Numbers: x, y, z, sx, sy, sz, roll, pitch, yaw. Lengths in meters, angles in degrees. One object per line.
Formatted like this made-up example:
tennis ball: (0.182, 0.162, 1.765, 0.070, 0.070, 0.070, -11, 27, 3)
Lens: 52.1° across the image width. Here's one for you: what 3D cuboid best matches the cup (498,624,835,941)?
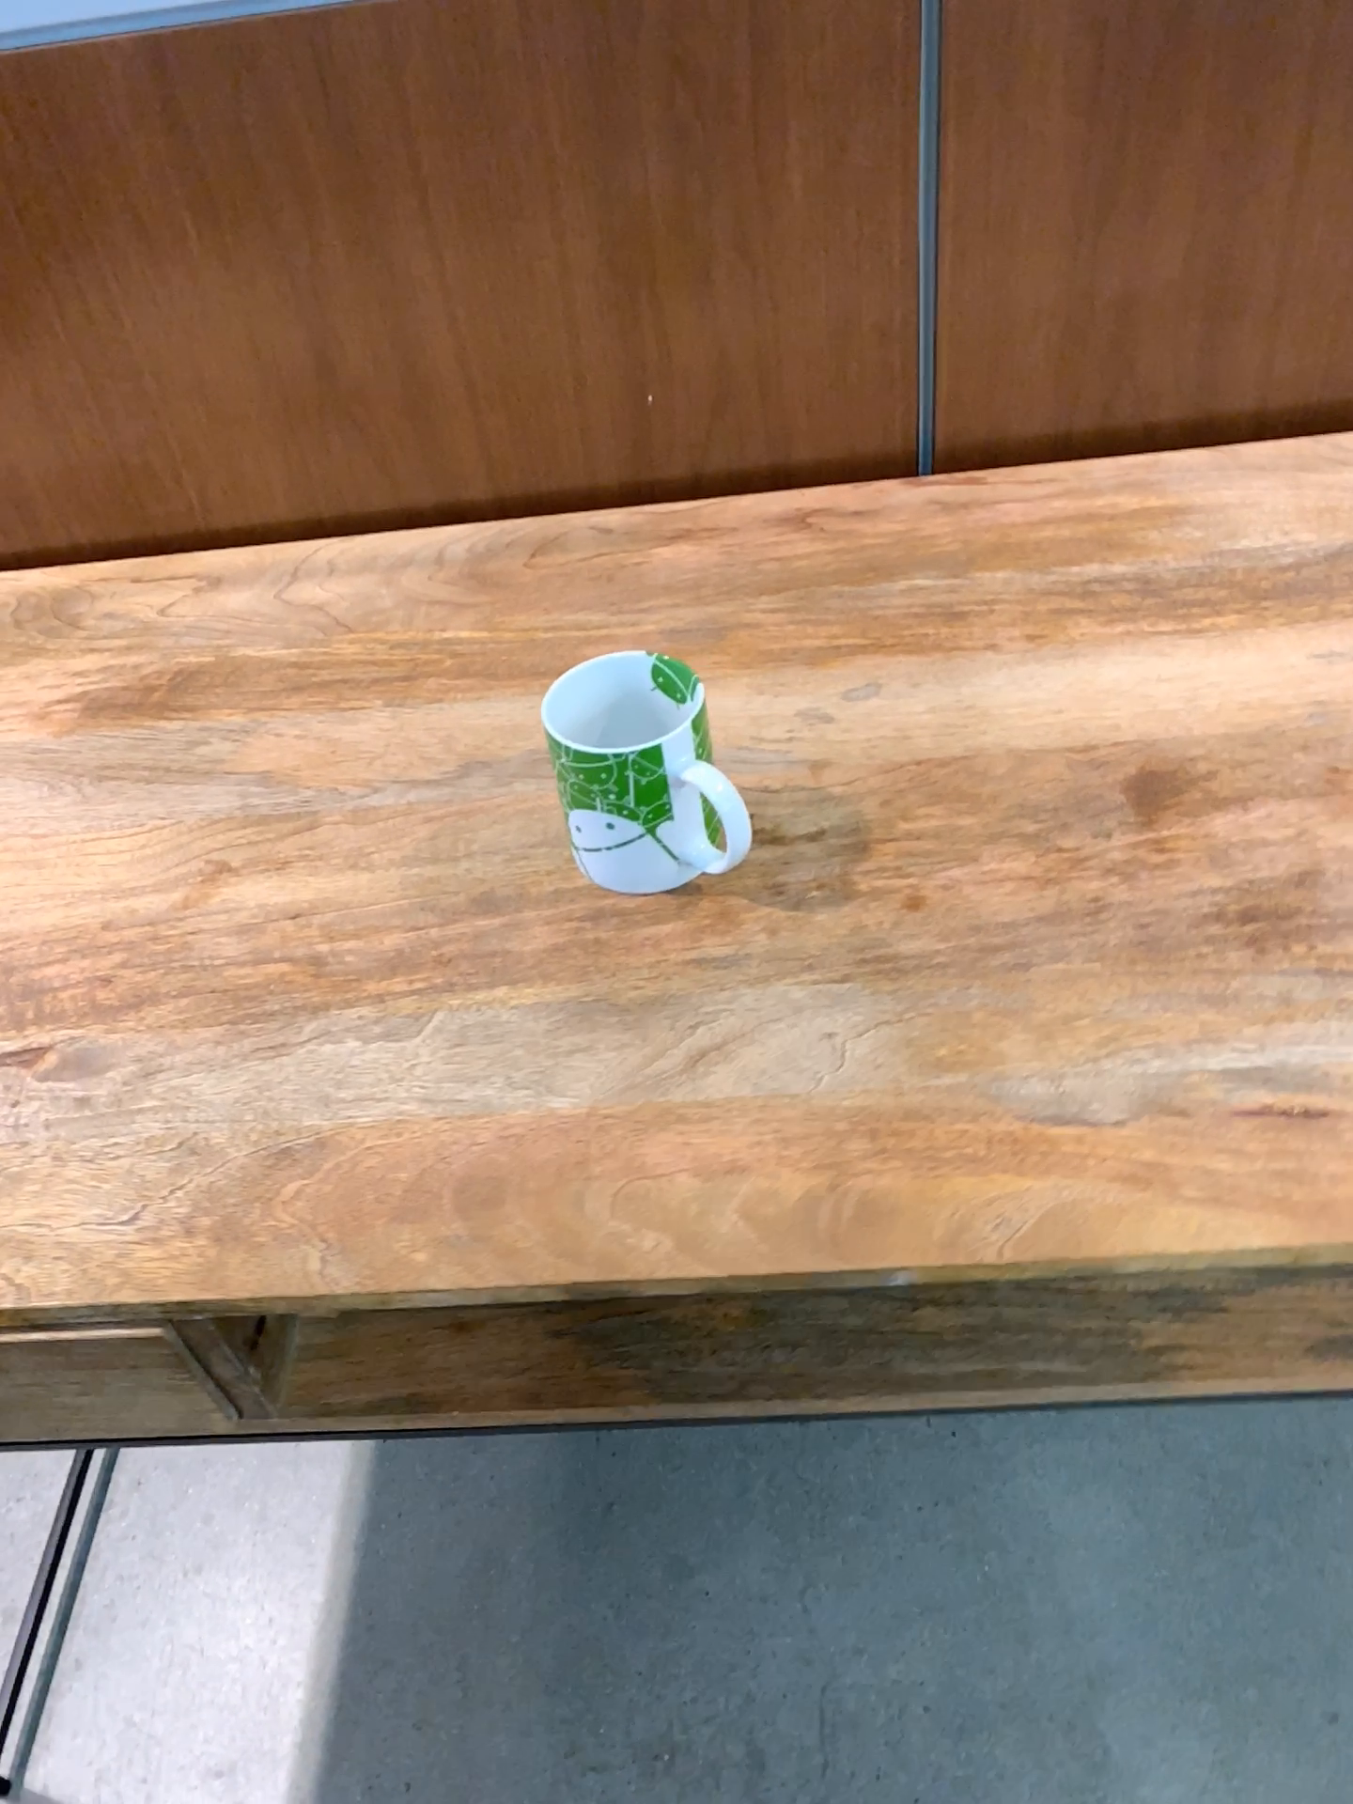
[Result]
cup: (-0.004, -0.061, 0.666, 0.100, 0.070, 0.121, -36, 50, -25)
